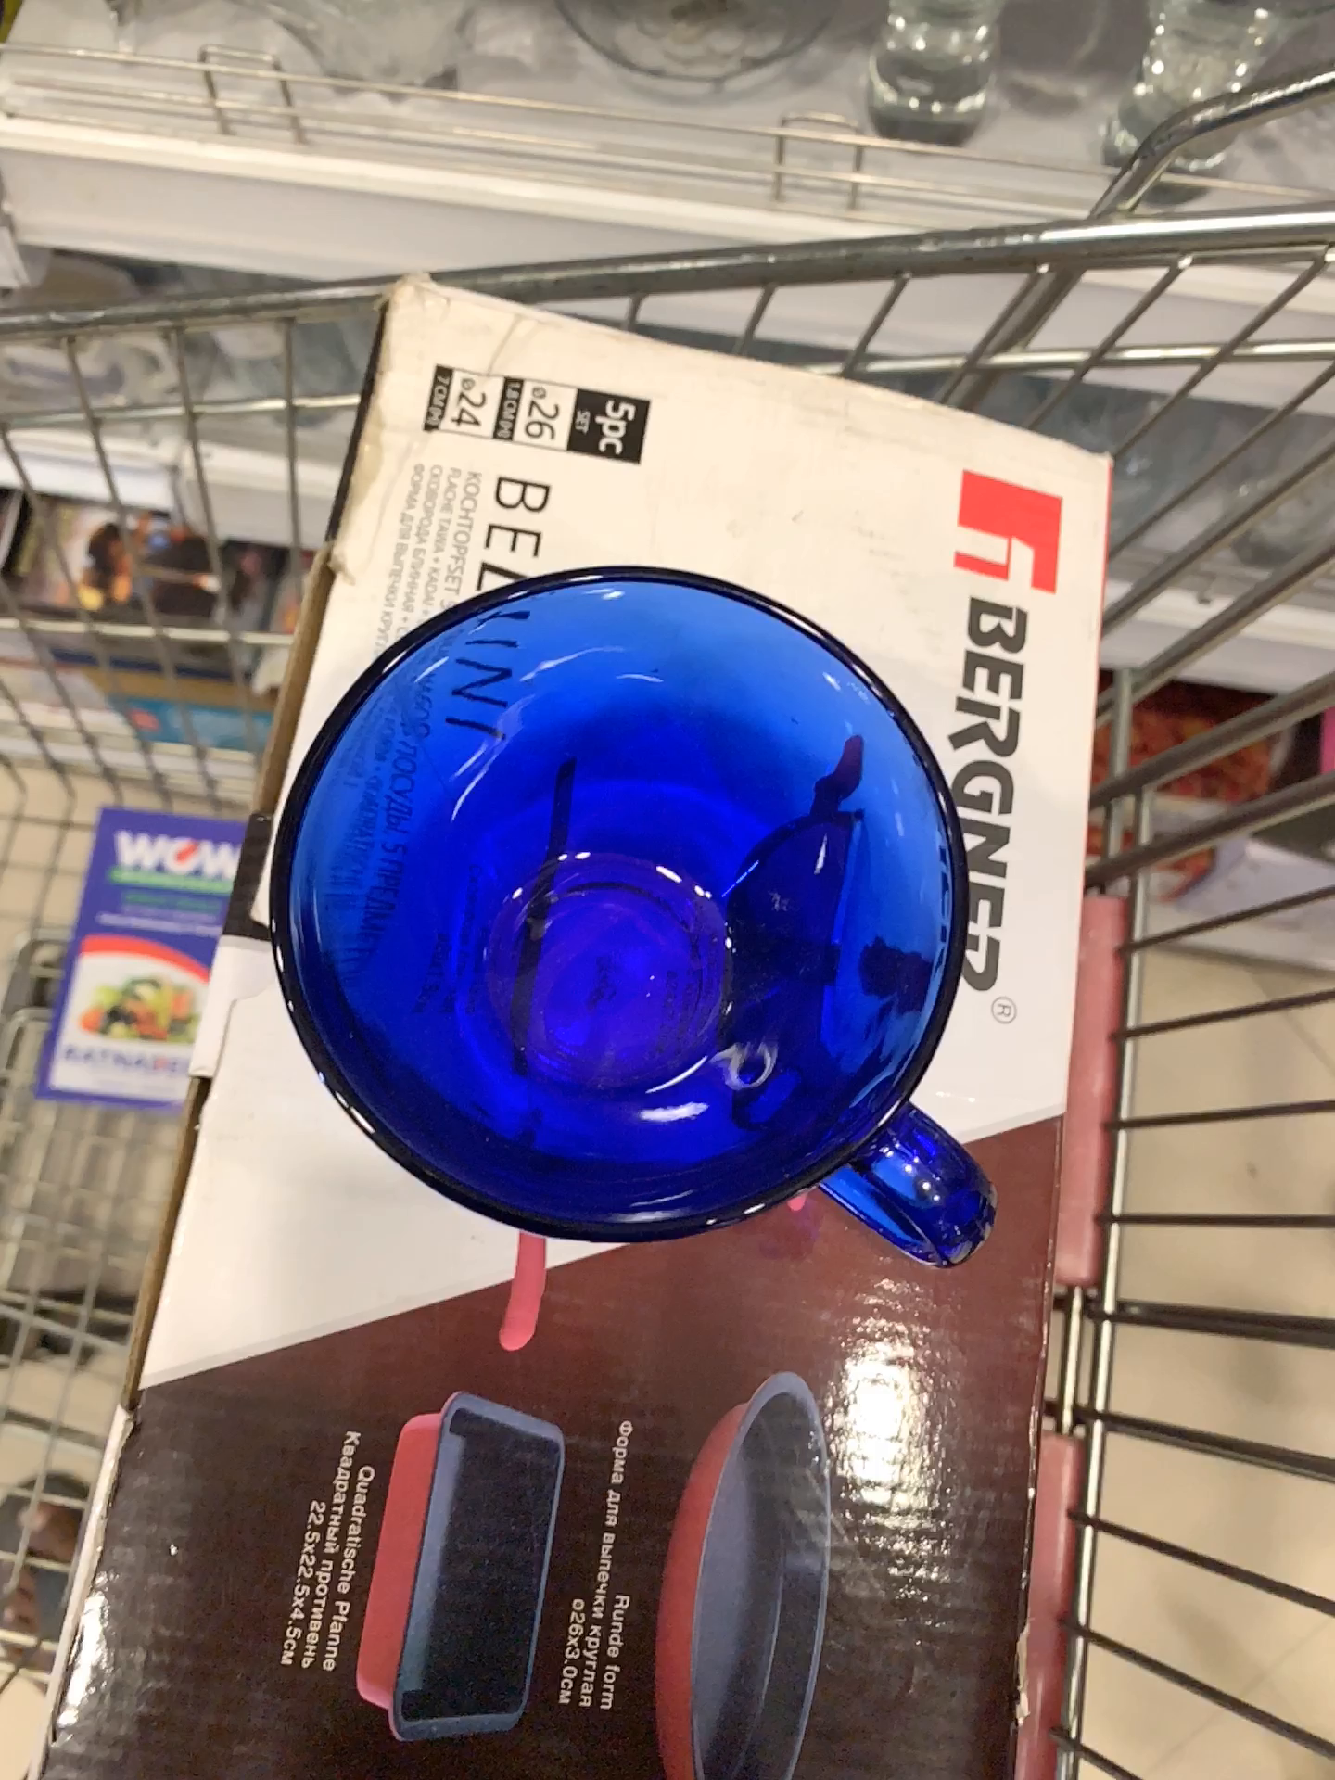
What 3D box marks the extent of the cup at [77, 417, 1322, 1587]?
[{"bbox_3d":[0.003,0.011,0.175,0.110,0.050,0.080,36,78,11],"label":"cup"}]
